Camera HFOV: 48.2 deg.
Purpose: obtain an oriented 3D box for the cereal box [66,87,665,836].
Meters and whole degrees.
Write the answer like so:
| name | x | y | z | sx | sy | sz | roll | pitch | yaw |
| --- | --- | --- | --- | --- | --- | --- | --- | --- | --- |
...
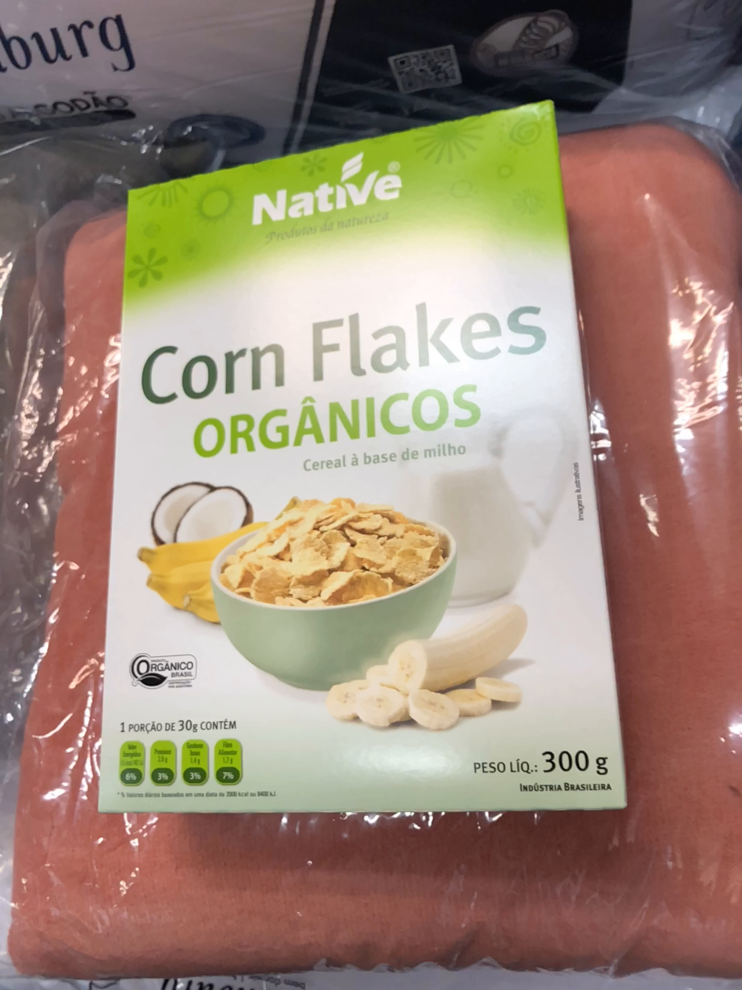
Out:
| name | x | y | z | sx | sy | sz | roll | pitch | yaw |
| --- | --- | --- | --- | --- | --- | --- | --- | --- | --- |
| cereal box | -0.006 | -0.009 | 0.302 | 0.180 | 0.060 | 0.240 | -5 | 74 | 12 |
